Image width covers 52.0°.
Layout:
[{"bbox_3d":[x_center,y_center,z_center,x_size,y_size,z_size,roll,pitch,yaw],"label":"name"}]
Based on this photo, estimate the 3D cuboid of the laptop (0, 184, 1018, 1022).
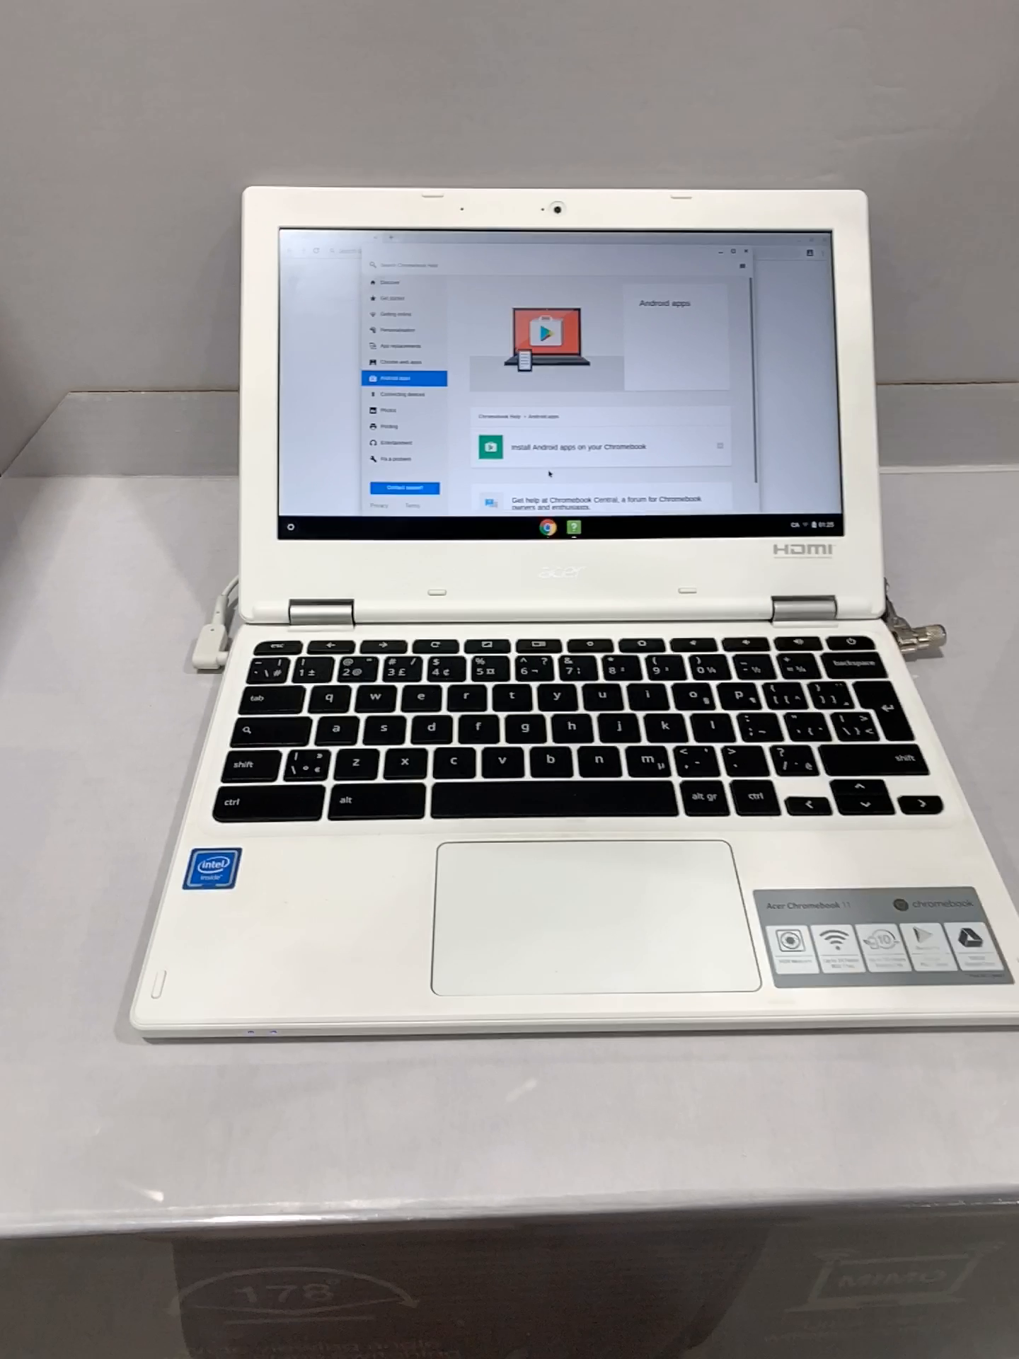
[{"bbox_3d":[0.025,-0.059,0.396,0.282,0.132,0.330,0,43,-1],"label":"laptop"}]
